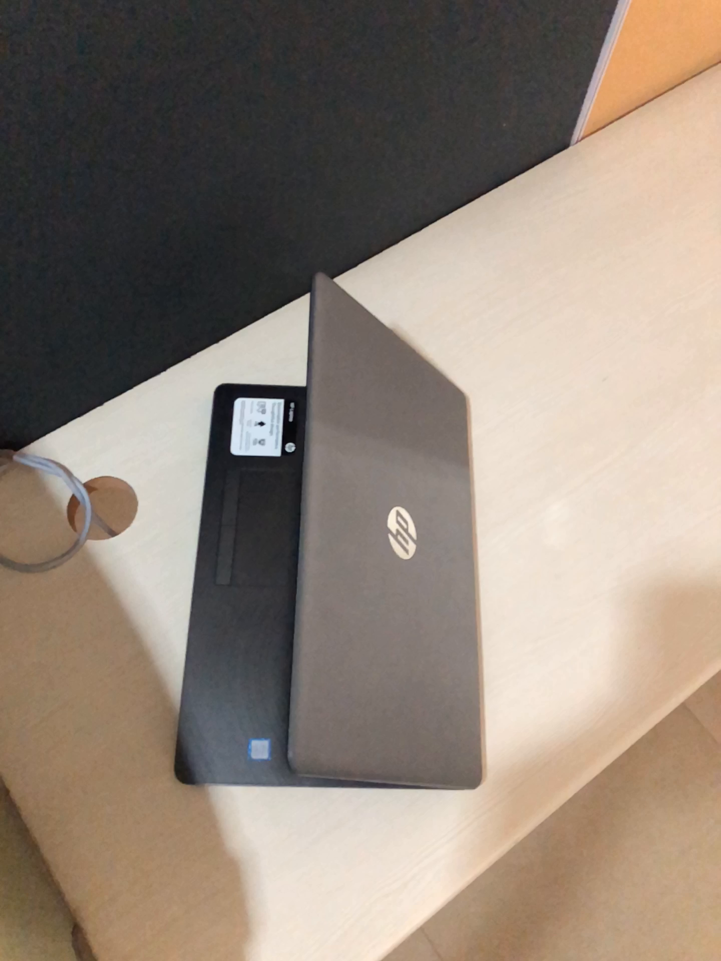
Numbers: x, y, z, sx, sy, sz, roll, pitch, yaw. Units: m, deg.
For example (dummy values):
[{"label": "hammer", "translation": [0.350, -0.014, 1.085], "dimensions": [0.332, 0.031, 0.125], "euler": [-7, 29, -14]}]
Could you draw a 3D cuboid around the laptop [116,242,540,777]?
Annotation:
[{"label": "laptop", "translation": [-0.019, 0.034, 0.624], "dimensions": [0.246, 0.205, 0.362], "euler": [2, 67, -3]}]
